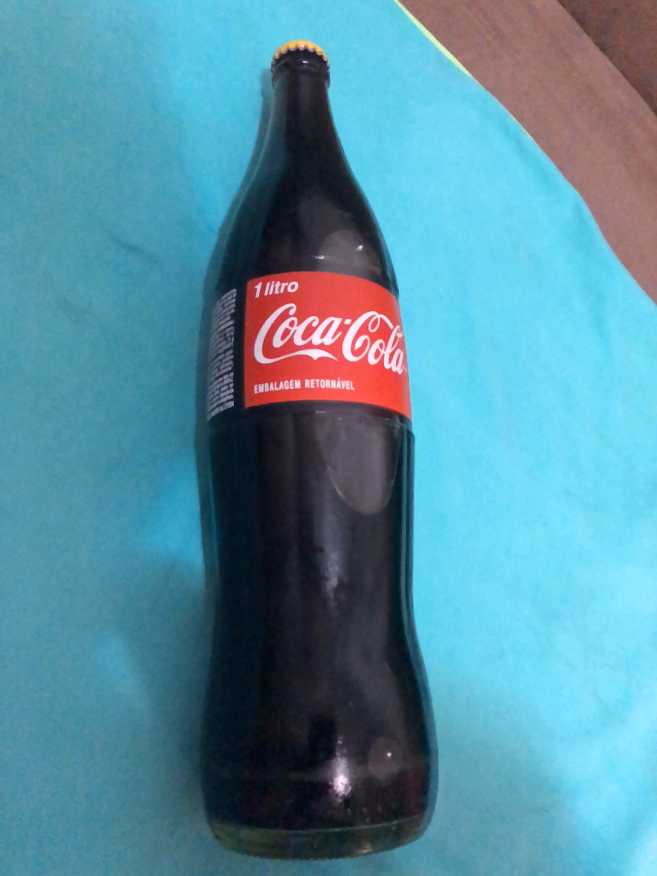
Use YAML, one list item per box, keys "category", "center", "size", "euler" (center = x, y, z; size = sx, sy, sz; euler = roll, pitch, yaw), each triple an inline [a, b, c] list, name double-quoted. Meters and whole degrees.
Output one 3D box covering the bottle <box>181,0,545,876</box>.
- category: "bottle"
  center: [0.003, -0.026, 0.294]
  size: [0.100, 0.070, 0.360]
  euler: [7, 71, -32]
